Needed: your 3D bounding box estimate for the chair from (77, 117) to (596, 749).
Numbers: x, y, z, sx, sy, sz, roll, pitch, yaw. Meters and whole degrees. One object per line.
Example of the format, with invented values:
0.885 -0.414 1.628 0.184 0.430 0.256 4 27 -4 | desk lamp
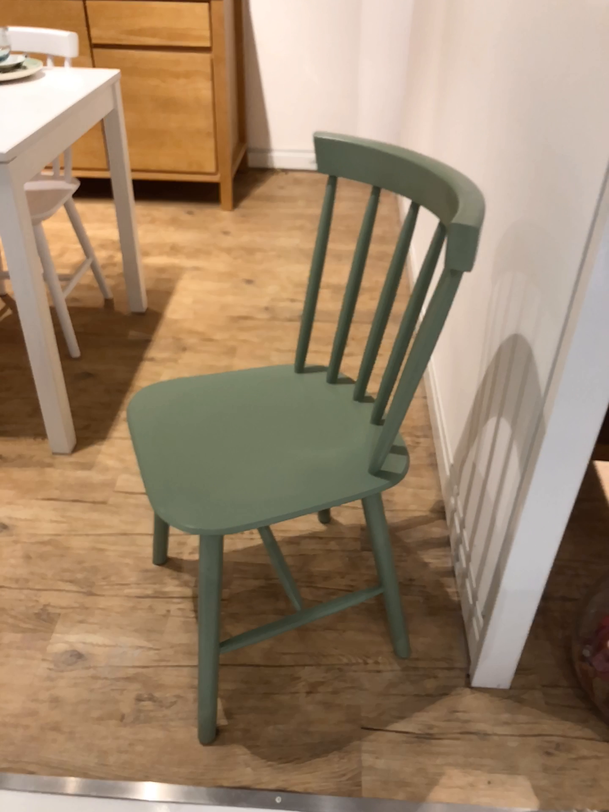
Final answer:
-0.007 0.035 1.095 0.521 0.813 0.473 -11 37 -17 | chair
